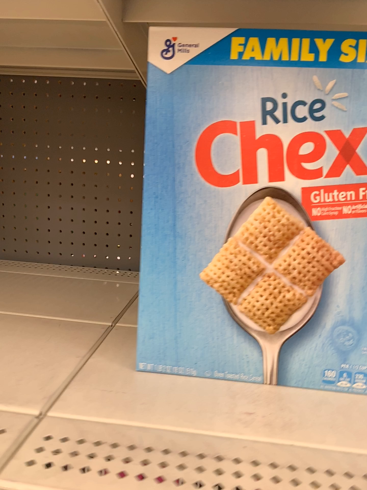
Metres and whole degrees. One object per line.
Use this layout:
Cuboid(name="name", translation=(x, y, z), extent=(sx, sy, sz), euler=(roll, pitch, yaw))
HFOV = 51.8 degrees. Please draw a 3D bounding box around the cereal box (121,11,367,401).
Cuboid(name="cereal box", translation=(0.076, -0.034, 0.364), extent=(0.250, 0.319, 0.080), euler=(4, 9, 6))
